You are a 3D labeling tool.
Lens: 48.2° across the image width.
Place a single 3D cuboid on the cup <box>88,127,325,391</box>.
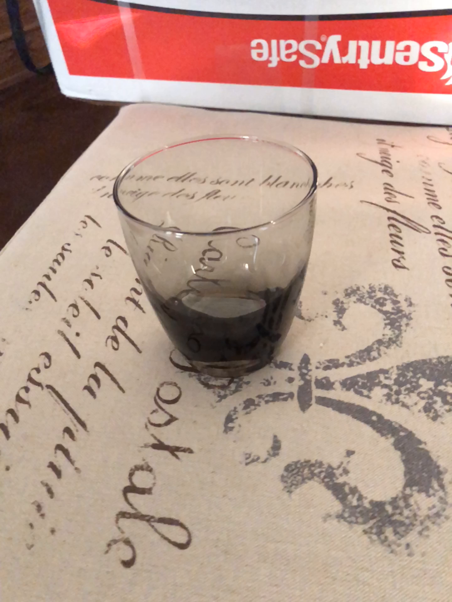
[{"bbox_3d":[0.000,-0.022,0.248,0.088,0.092,0.088,-3,41,2],"label":"cup"}]
